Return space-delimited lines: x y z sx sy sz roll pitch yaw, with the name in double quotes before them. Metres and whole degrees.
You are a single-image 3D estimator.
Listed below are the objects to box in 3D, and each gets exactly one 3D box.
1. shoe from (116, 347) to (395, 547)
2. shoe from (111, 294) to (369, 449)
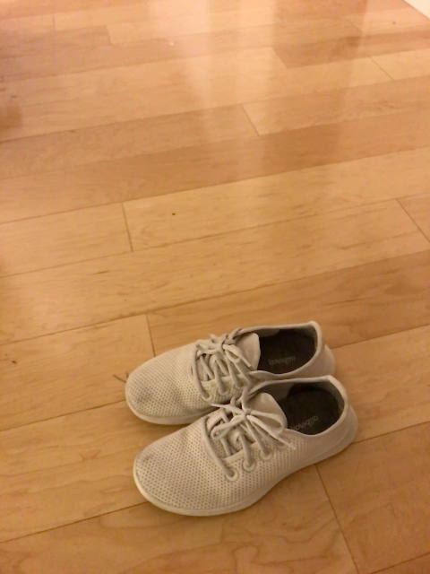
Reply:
"shoe" 0.043 0.175 0.535 0.280 0.079 0.111 -16 52 -13
"shoe" 0.027 0.103 0.590 0.290 0.079 0.111 -11 51 -8
